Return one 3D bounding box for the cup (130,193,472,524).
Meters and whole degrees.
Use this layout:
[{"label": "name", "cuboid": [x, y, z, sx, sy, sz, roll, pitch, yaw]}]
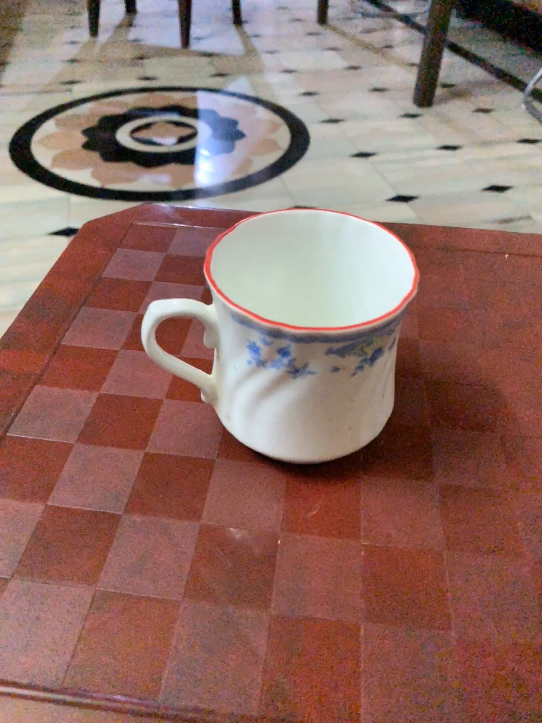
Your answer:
[{"label": "cup", "cuboid": [0.004, -0.003, 0.201, 0.090, 0.080, 0.070, -9, 44, -11]}]
